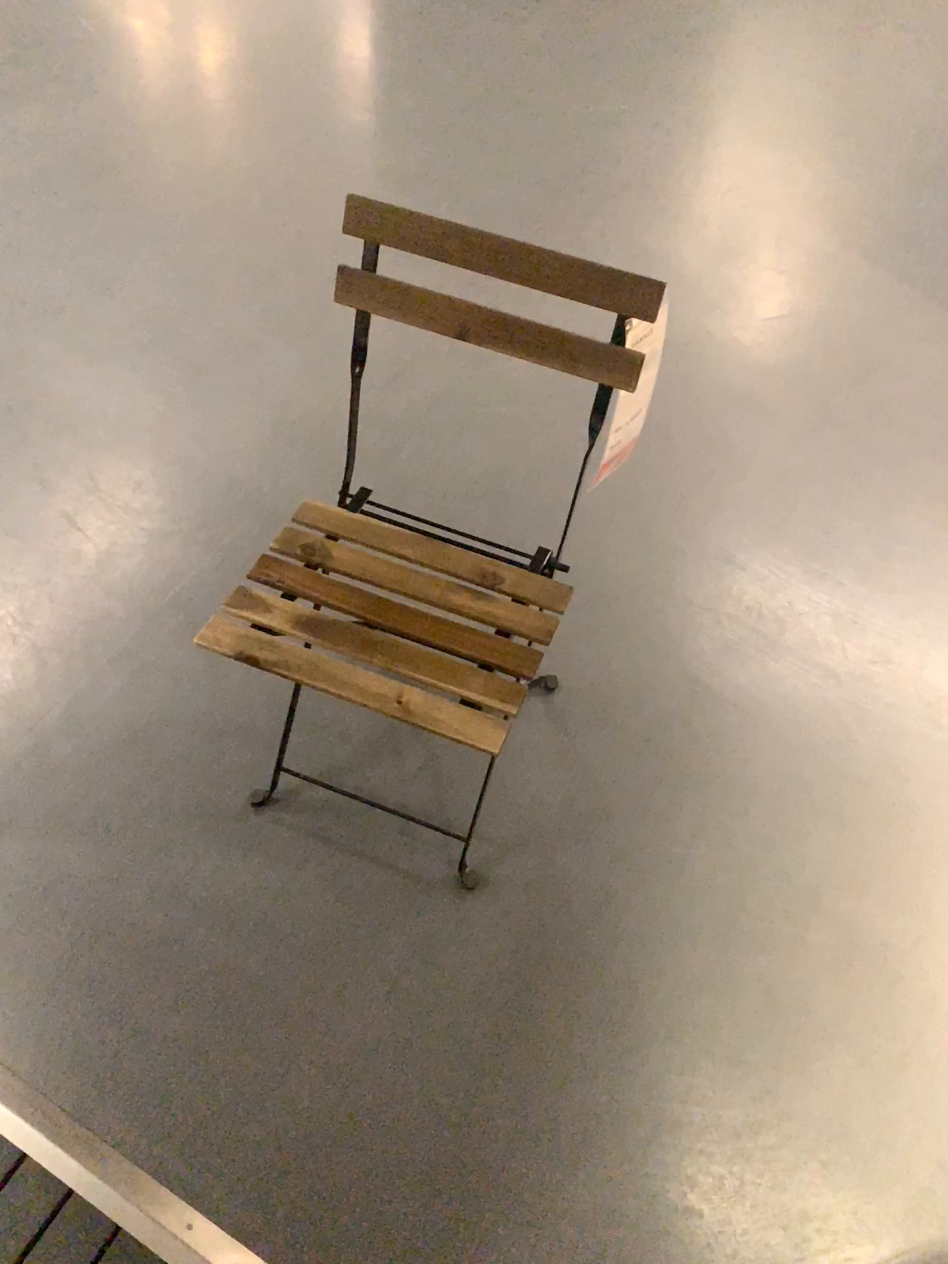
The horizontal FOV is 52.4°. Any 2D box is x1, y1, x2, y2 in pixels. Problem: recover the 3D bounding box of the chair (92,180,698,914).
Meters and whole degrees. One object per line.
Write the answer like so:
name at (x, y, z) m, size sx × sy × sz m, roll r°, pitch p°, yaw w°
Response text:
chair at (-0.066, -0.069, 1.233) m, size 0.430 × 0.698 × 0.501 m, roll 19°, pitch 55°, yaw 10°
